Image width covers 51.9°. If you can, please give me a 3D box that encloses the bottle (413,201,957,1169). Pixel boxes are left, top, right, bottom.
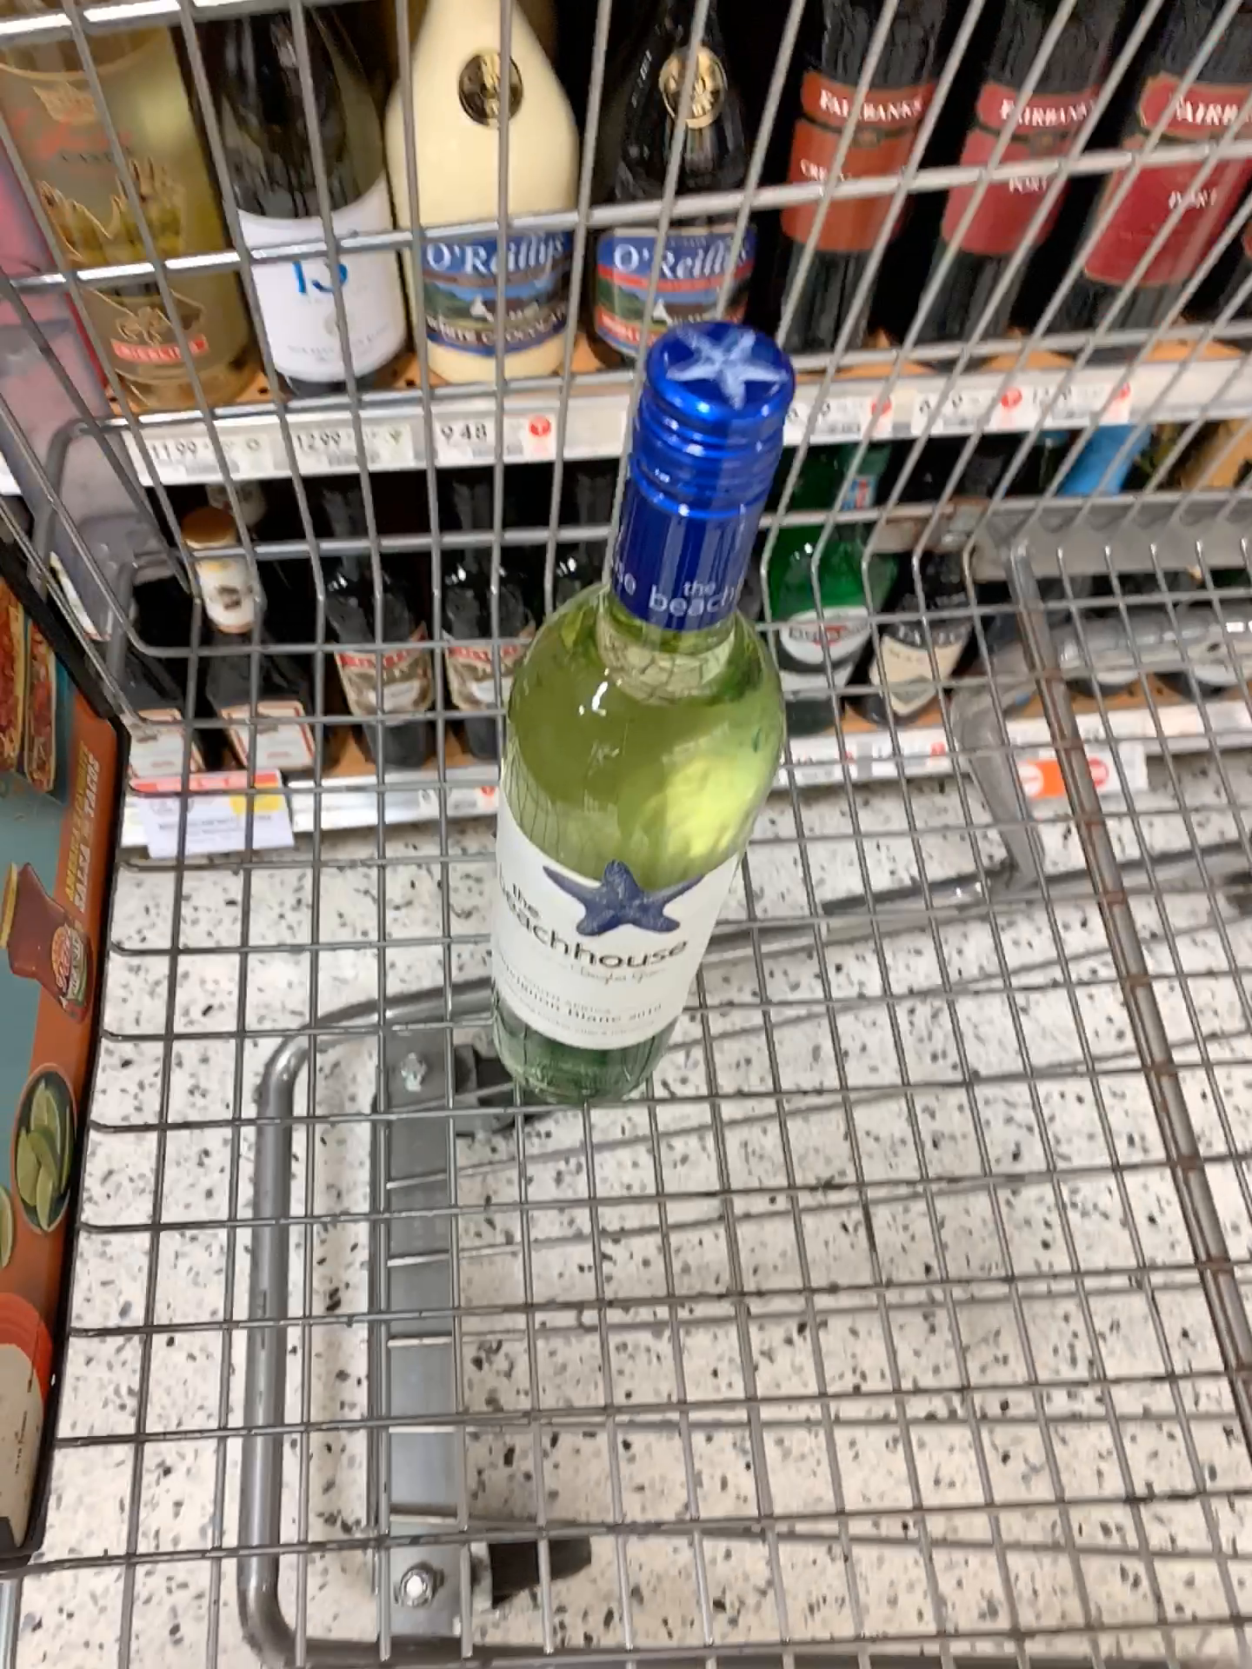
[{"bbox_3d":[0.000,0.002,0.380,0.090,0.338,0.091,2,60,-4],"label":"bottle"}]
